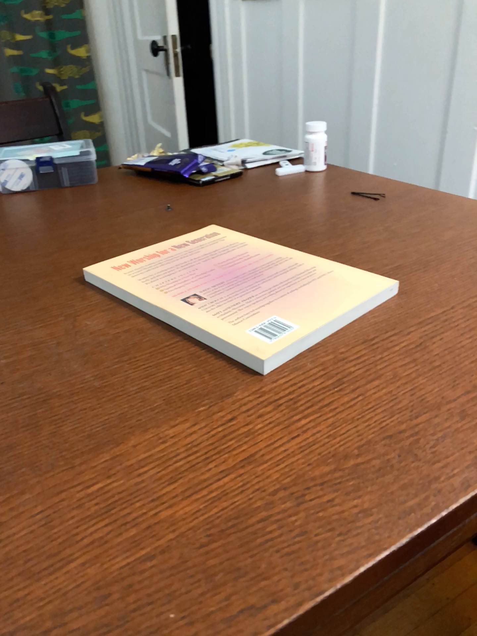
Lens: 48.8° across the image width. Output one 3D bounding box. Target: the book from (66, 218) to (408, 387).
[{"bbox_3d":[-0.010,-0.037,0.506,0.271,0.020,0.191,23,38,39],"label":"book"}]
